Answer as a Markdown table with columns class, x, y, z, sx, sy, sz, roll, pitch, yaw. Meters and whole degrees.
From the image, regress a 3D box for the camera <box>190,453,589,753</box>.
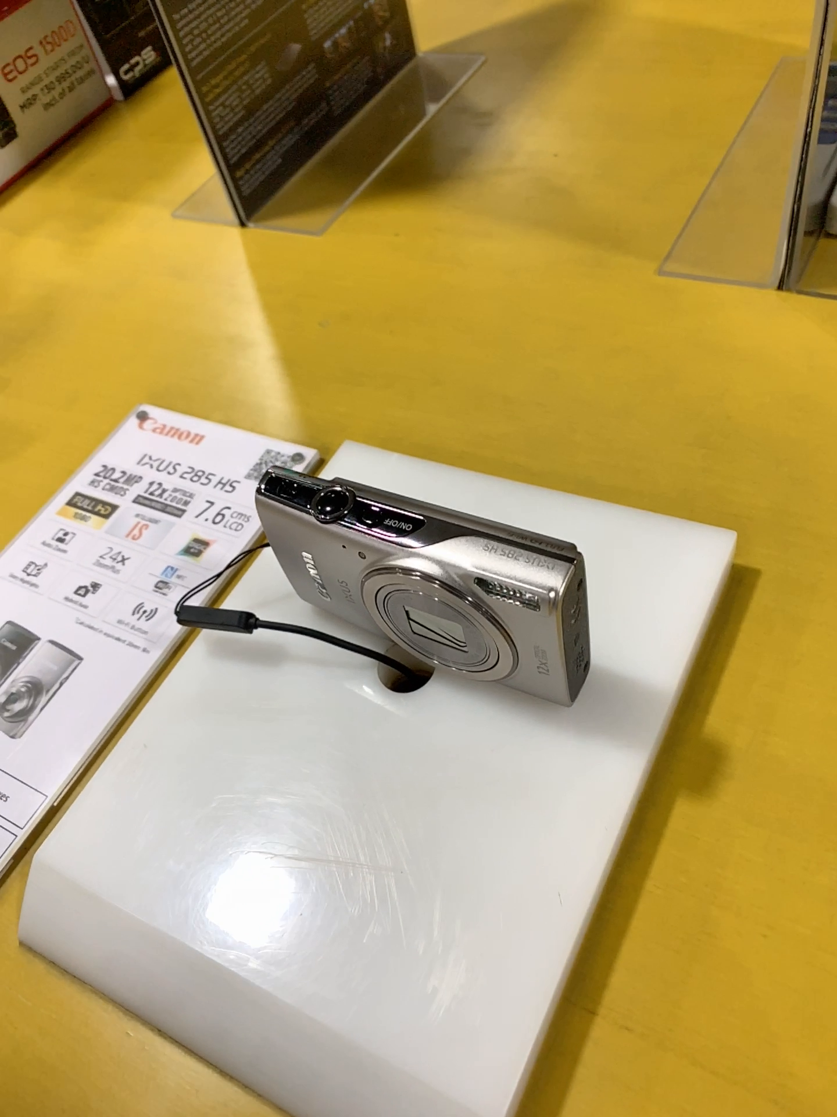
| class | x | y | z | sx | sy | sz | roll | pitch | yaw |
| --- | --- | --- | --- | --- | --- | --- | --- | --- | --- |
| camera | -0.007 | 0.010 | 0.238 | 0.100 | 0.050 | 0.030 | 19 | 59 | 27 |
